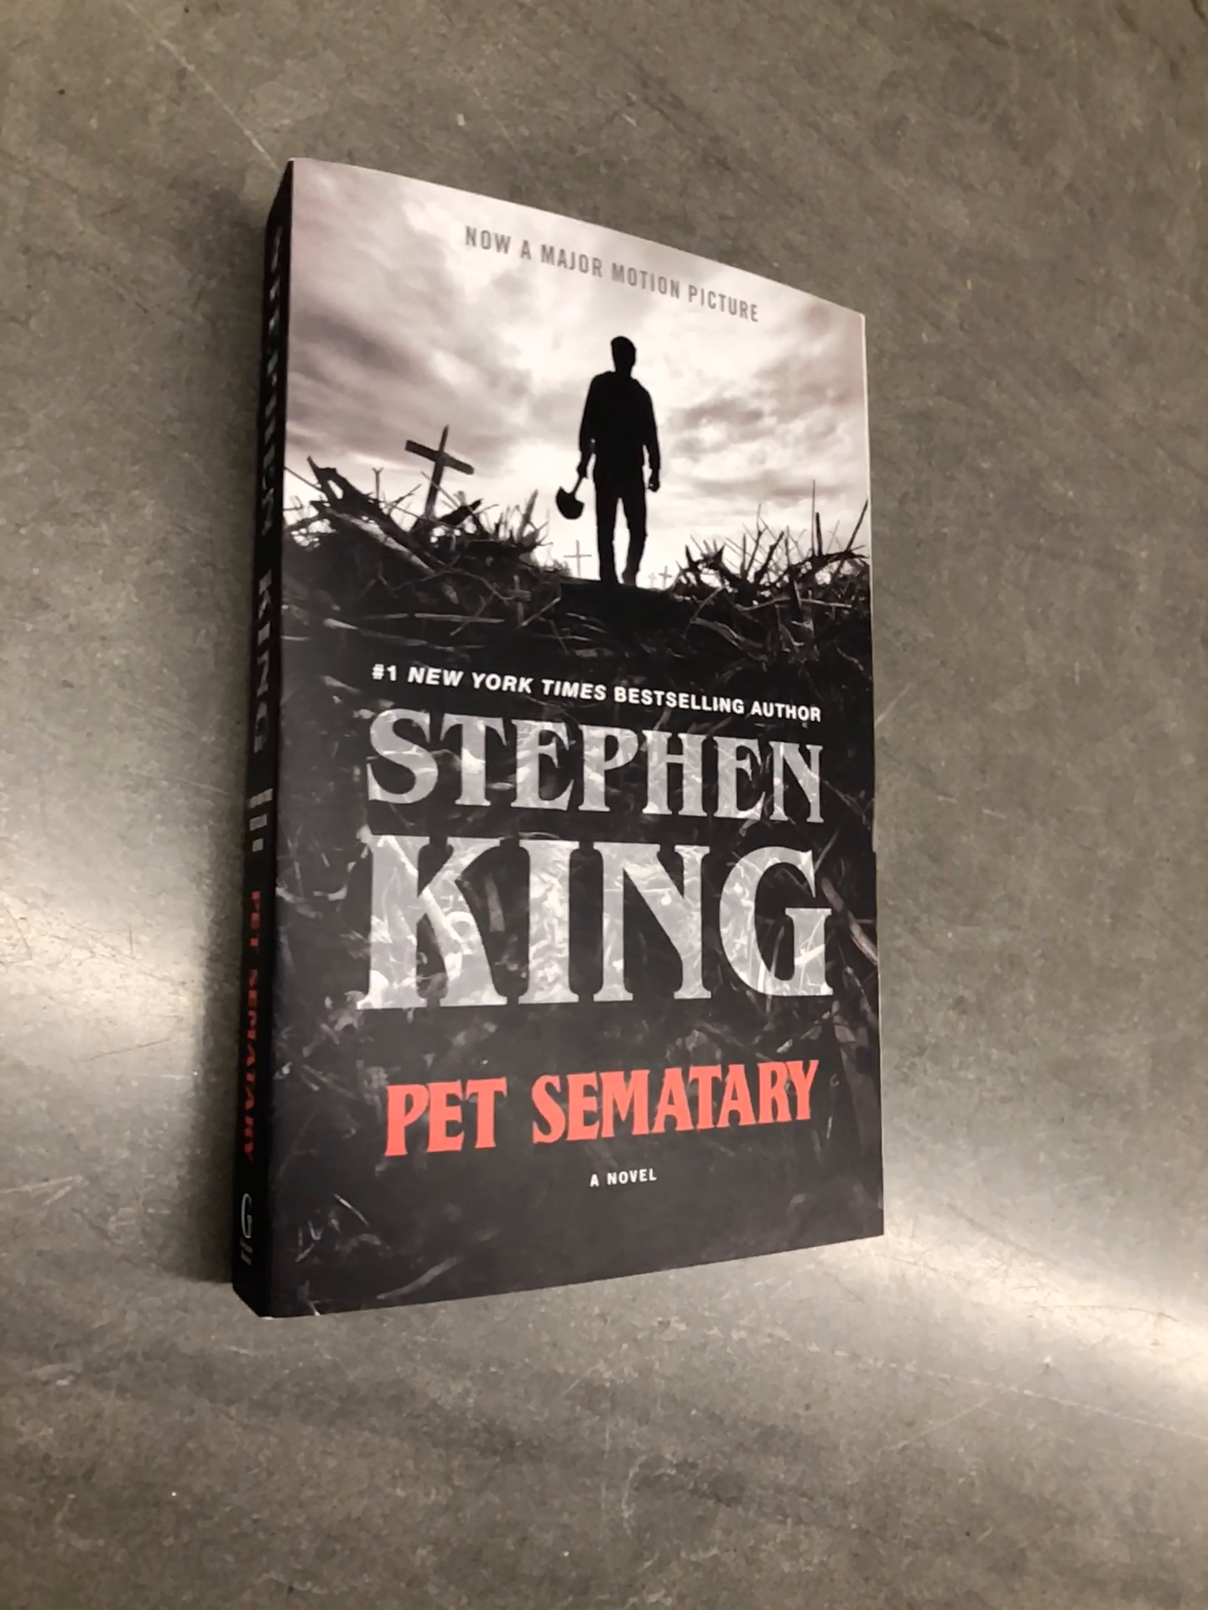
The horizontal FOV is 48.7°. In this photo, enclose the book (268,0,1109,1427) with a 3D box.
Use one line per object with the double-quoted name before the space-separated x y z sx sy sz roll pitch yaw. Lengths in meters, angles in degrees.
"book" 0.024 -0.016 0.262 0.160 0.050 0.220 3 88 -32
